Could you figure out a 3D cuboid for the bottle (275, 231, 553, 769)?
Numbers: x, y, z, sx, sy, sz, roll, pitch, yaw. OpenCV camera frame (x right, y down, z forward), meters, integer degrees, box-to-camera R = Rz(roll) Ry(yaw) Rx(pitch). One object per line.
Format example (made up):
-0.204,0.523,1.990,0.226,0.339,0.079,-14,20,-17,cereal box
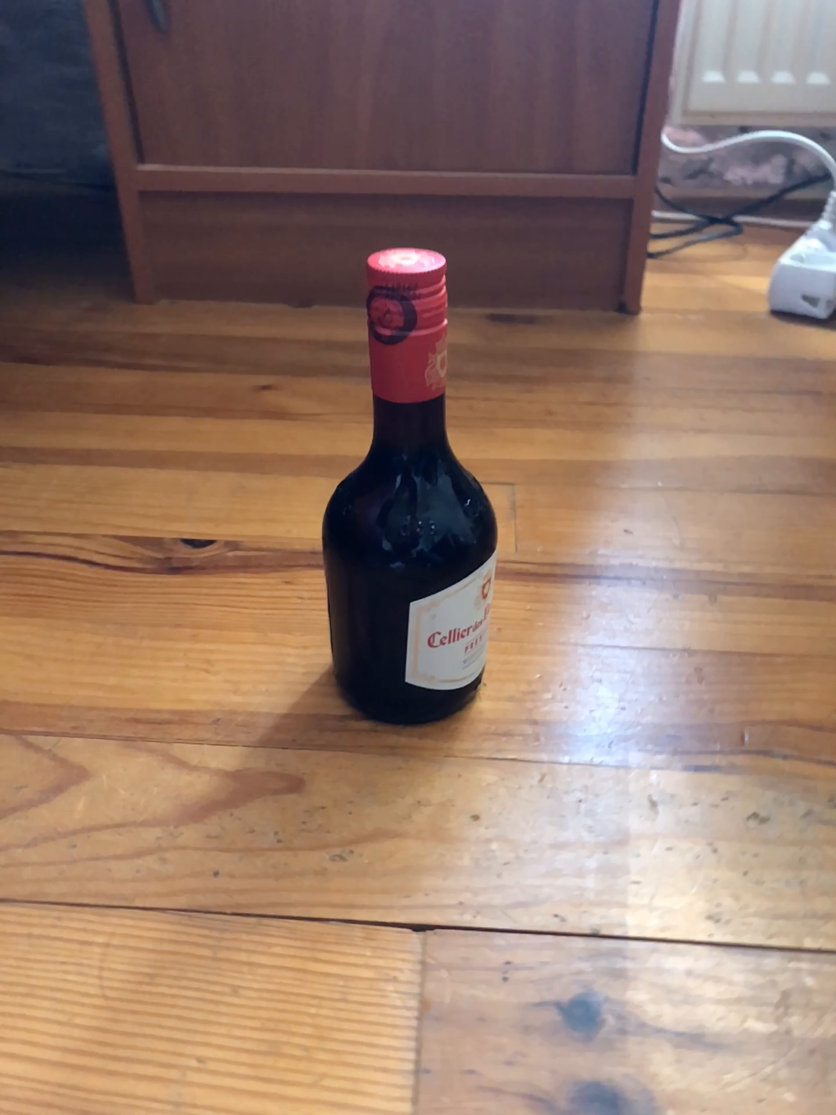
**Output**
0.000,-0.018,0.331,0.060,0.169,0.070,16,36,23,bottle
